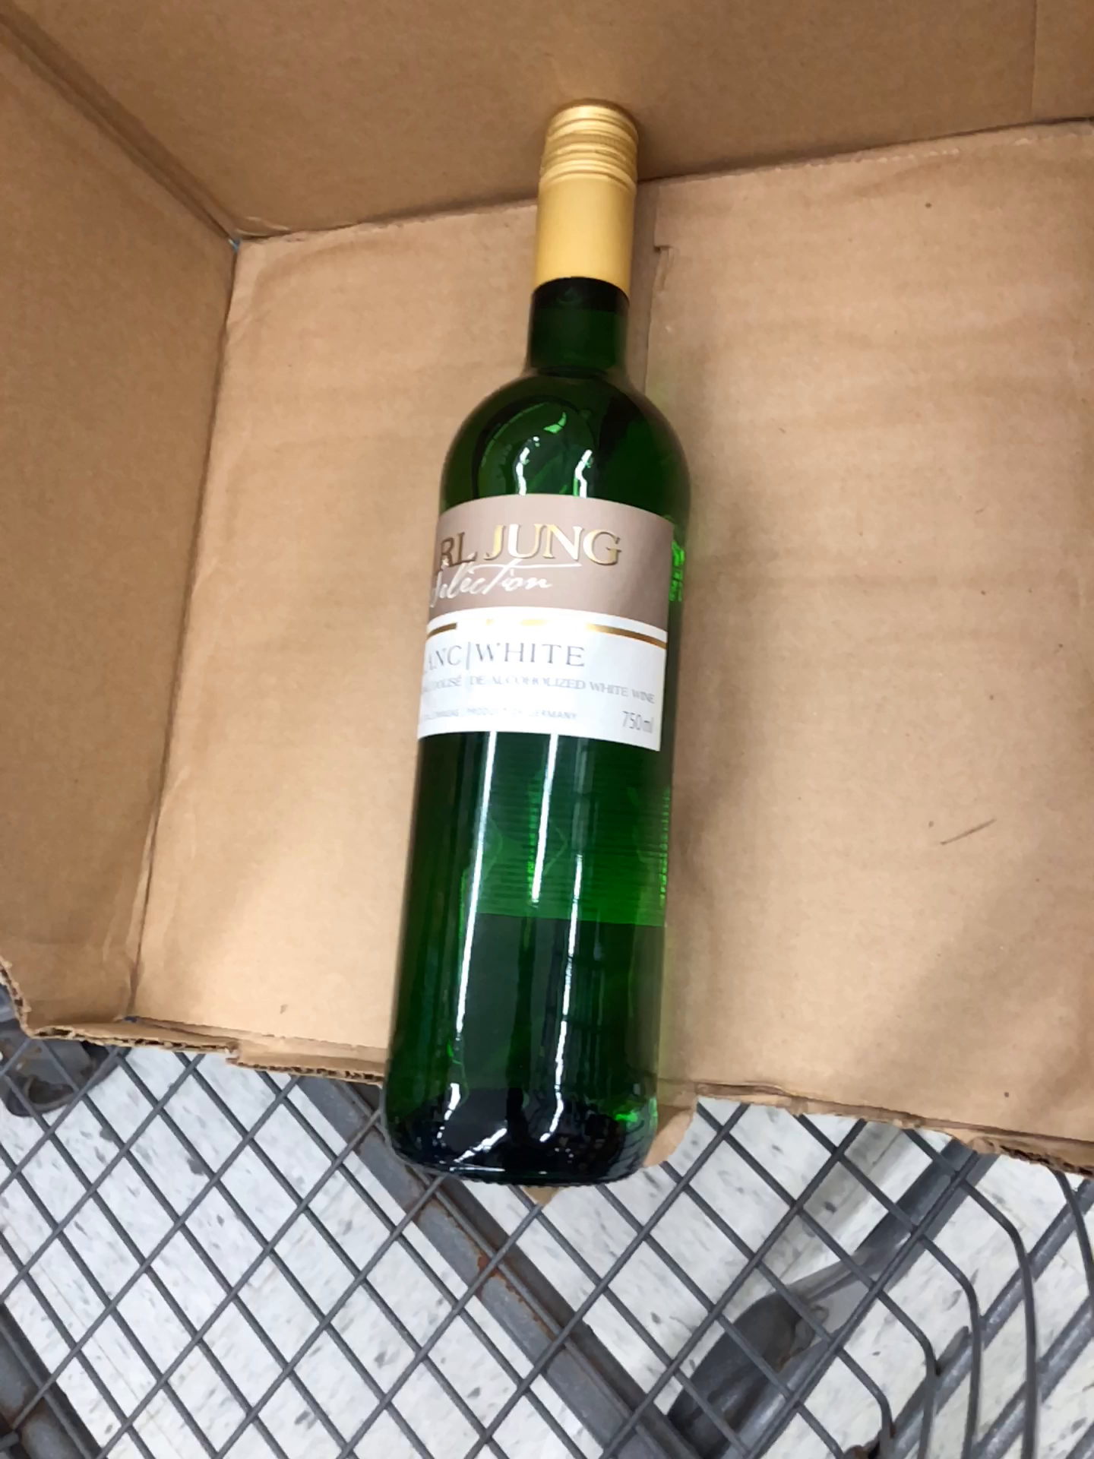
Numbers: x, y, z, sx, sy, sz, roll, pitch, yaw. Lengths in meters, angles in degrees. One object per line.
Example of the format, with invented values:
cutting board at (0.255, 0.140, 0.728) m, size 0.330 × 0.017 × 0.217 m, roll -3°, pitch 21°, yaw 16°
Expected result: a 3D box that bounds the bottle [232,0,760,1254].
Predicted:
bottle at (-0.004, -0.049, 0.330) m, size 0.080 × 0.100 × 0.330 m, roll -1°, pitch 81°, yaw 30°
